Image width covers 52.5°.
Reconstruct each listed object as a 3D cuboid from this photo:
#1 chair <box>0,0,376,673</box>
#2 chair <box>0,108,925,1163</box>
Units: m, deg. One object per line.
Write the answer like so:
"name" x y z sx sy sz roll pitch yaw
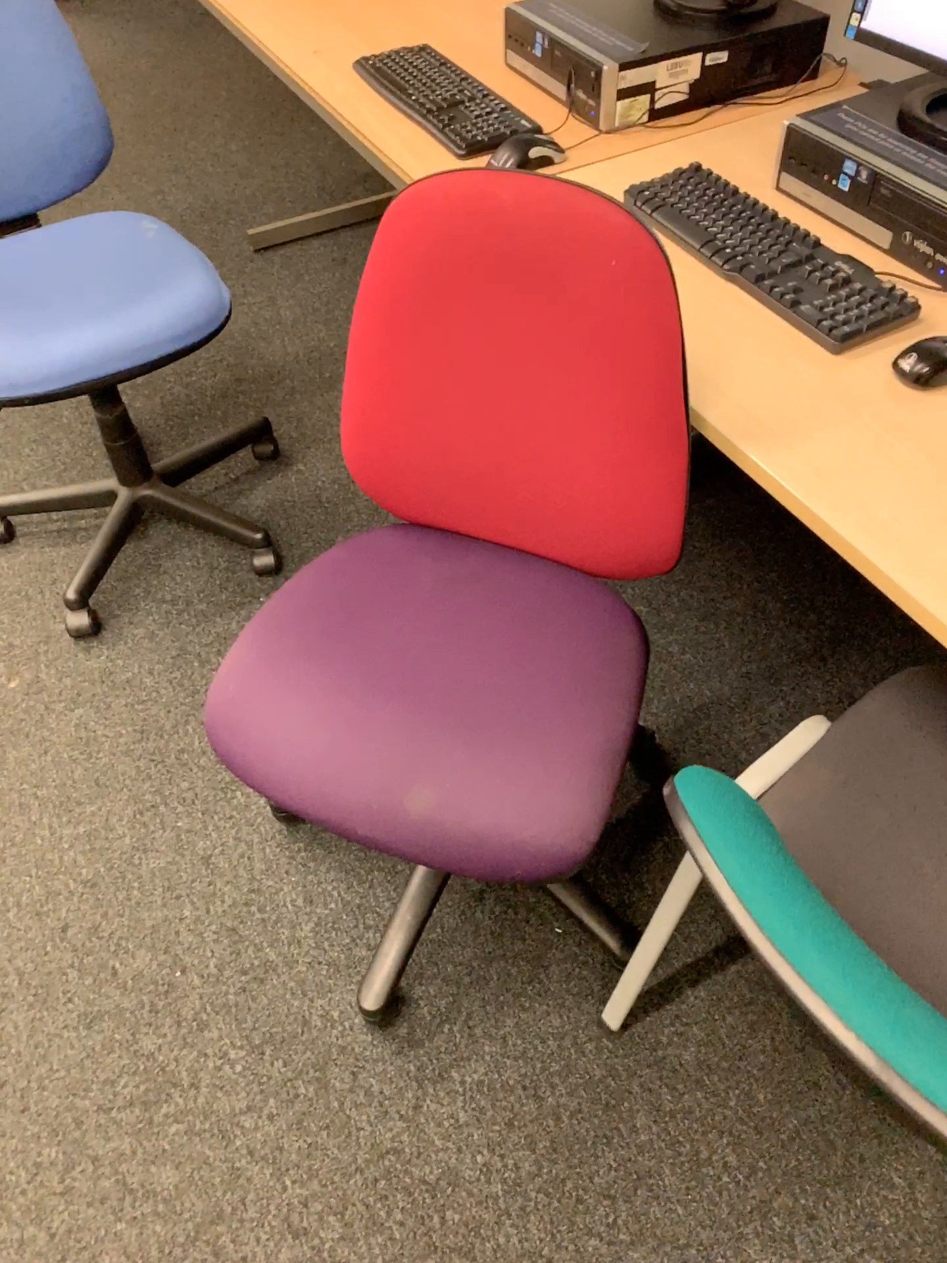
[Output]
"chair" -0.615 -0.519 1.581 0.604 0.829 0.602 -26 52 -19
"chair" -0.025 0.026 1.093 0.655 0.869 0.602 21 52 20
